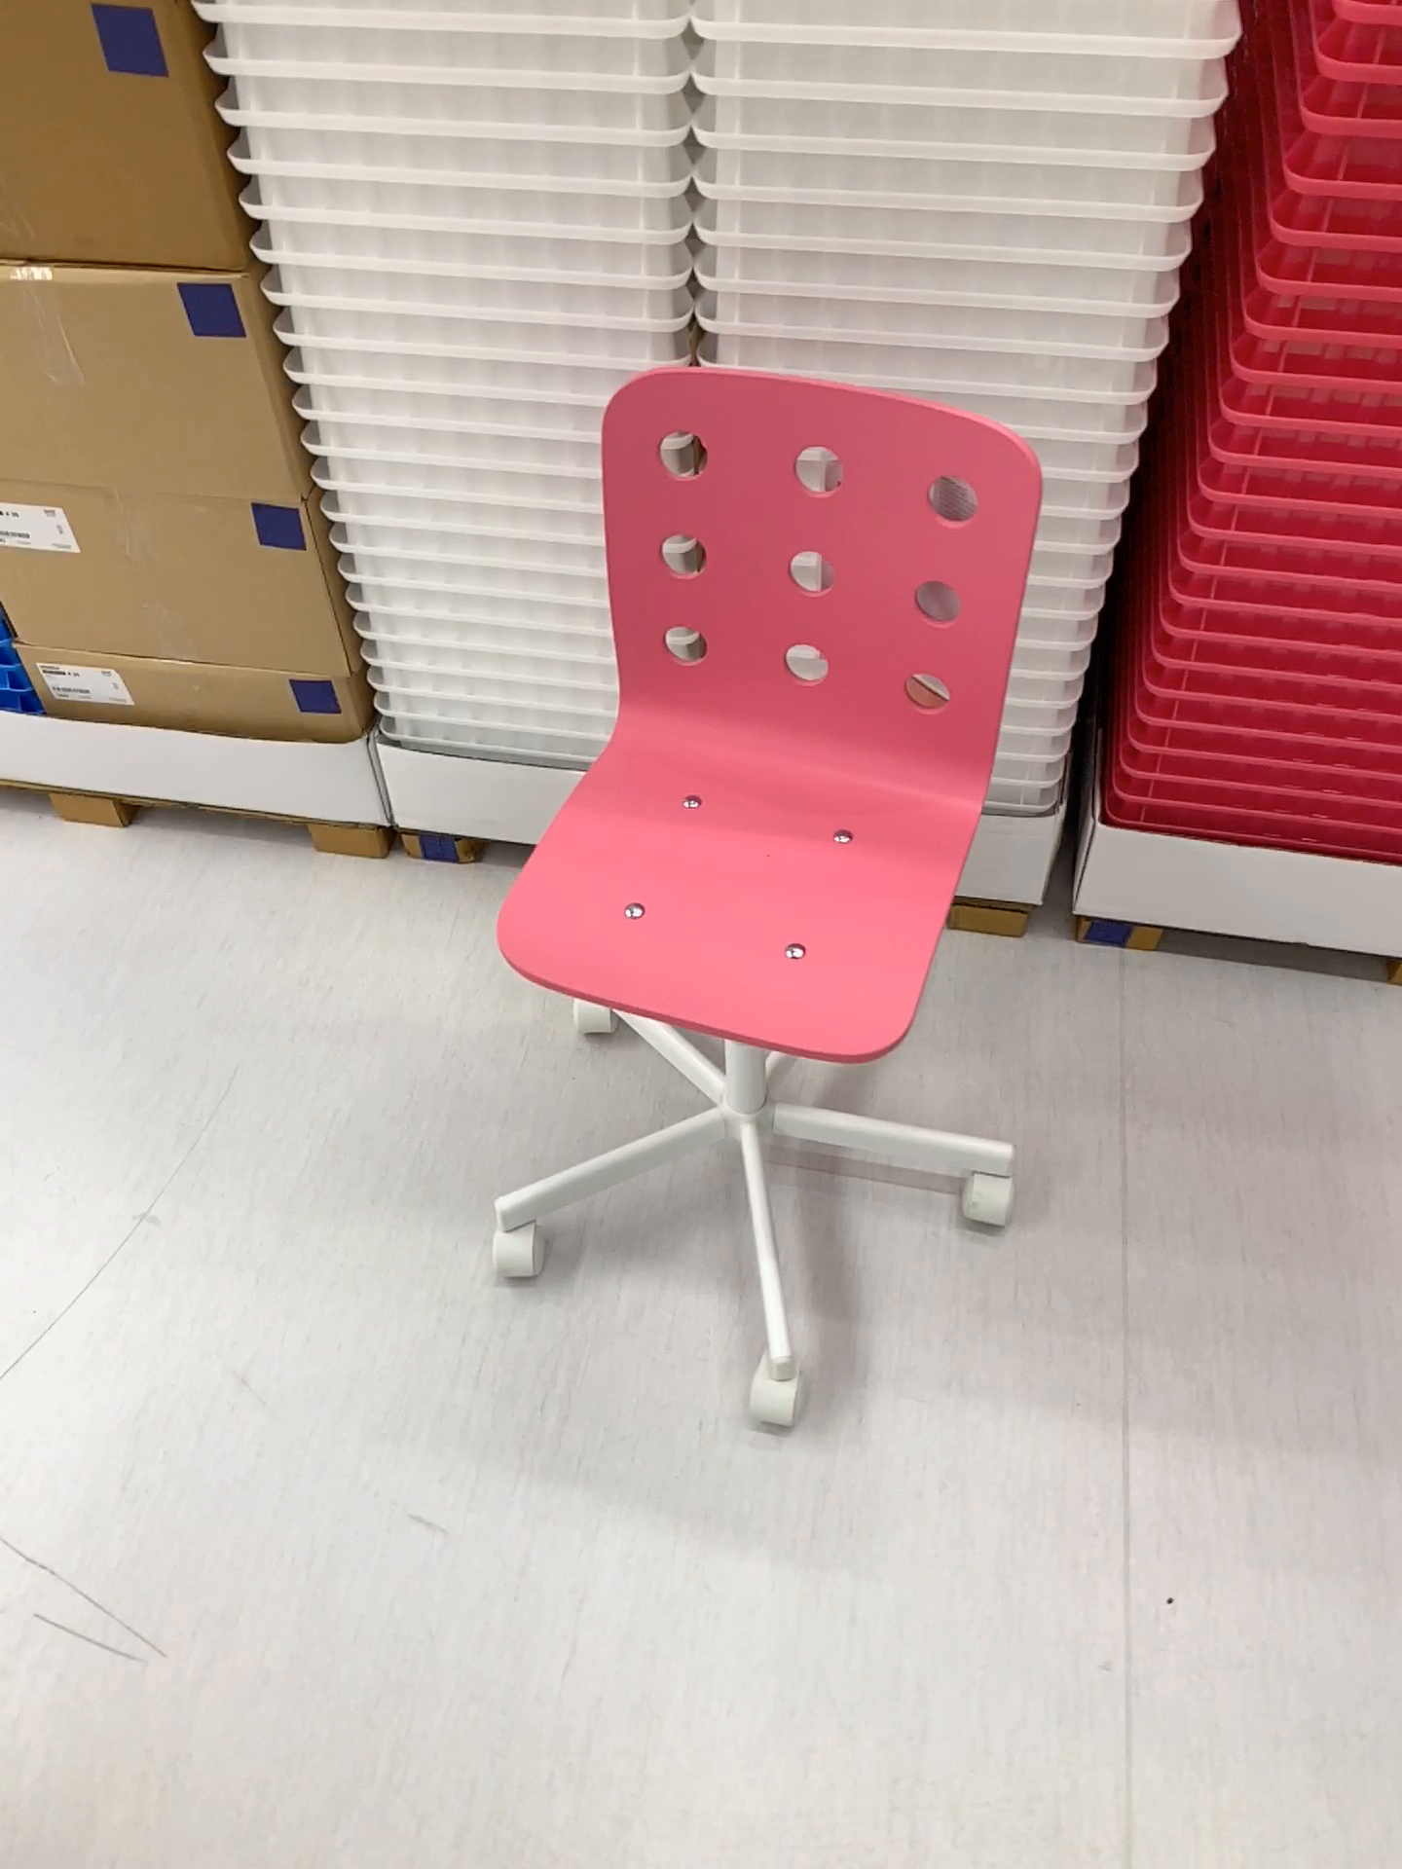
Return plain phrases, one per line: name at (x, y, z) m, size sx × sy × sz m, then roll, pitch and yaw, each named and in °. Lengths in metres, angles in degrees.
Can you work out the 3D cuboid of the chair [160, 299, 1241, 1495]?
chair at (0.056, -0.015, 1.185) m, size 0.550 × 0.708 × 0.582 m, roll 12°, pitch 52°, yaw 12°
